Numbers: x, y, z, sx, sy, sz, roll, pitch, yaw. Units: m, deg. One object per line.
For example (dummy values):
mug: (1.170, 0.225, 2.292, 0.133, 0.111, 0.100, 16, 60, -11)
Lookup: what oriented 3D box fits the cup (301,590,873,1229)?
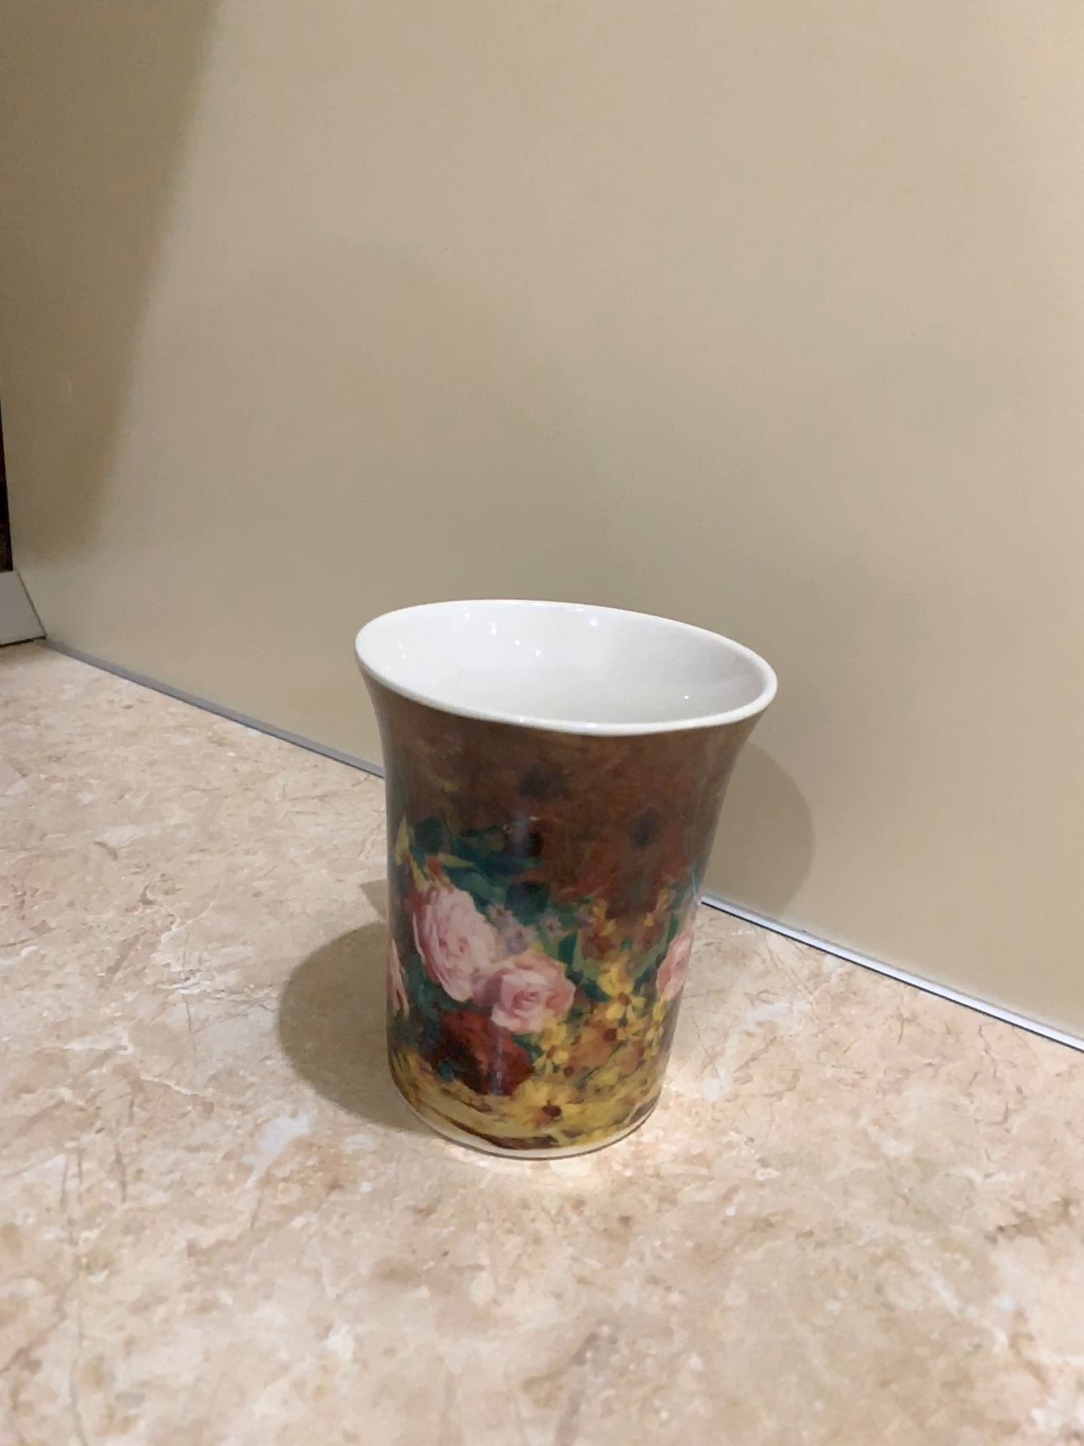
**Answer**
cup: (-0.002, 0.031, 0.253, 0.094, 0.096, 0.102, 4, 20, -2)
